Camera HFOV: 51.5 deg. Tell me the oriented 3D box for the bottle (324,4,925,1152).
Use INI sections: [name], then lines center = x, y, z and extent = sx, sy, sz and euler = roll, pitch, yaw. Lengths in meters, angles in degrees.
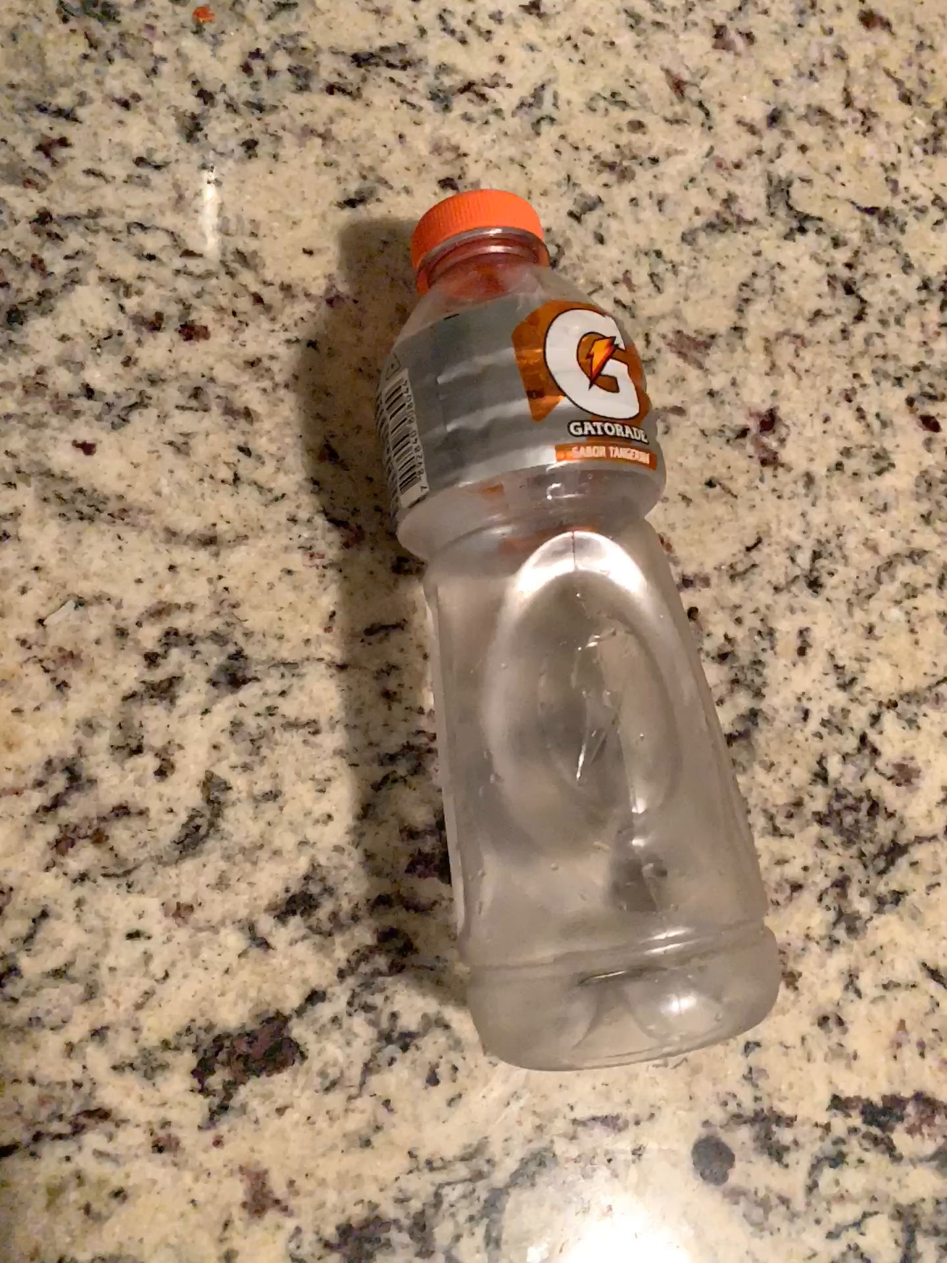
[bottle]
center = 0.019, -0.019, 0.221
extent = 0.070, 0.070, 0.220
euler = -6, 77, -16
